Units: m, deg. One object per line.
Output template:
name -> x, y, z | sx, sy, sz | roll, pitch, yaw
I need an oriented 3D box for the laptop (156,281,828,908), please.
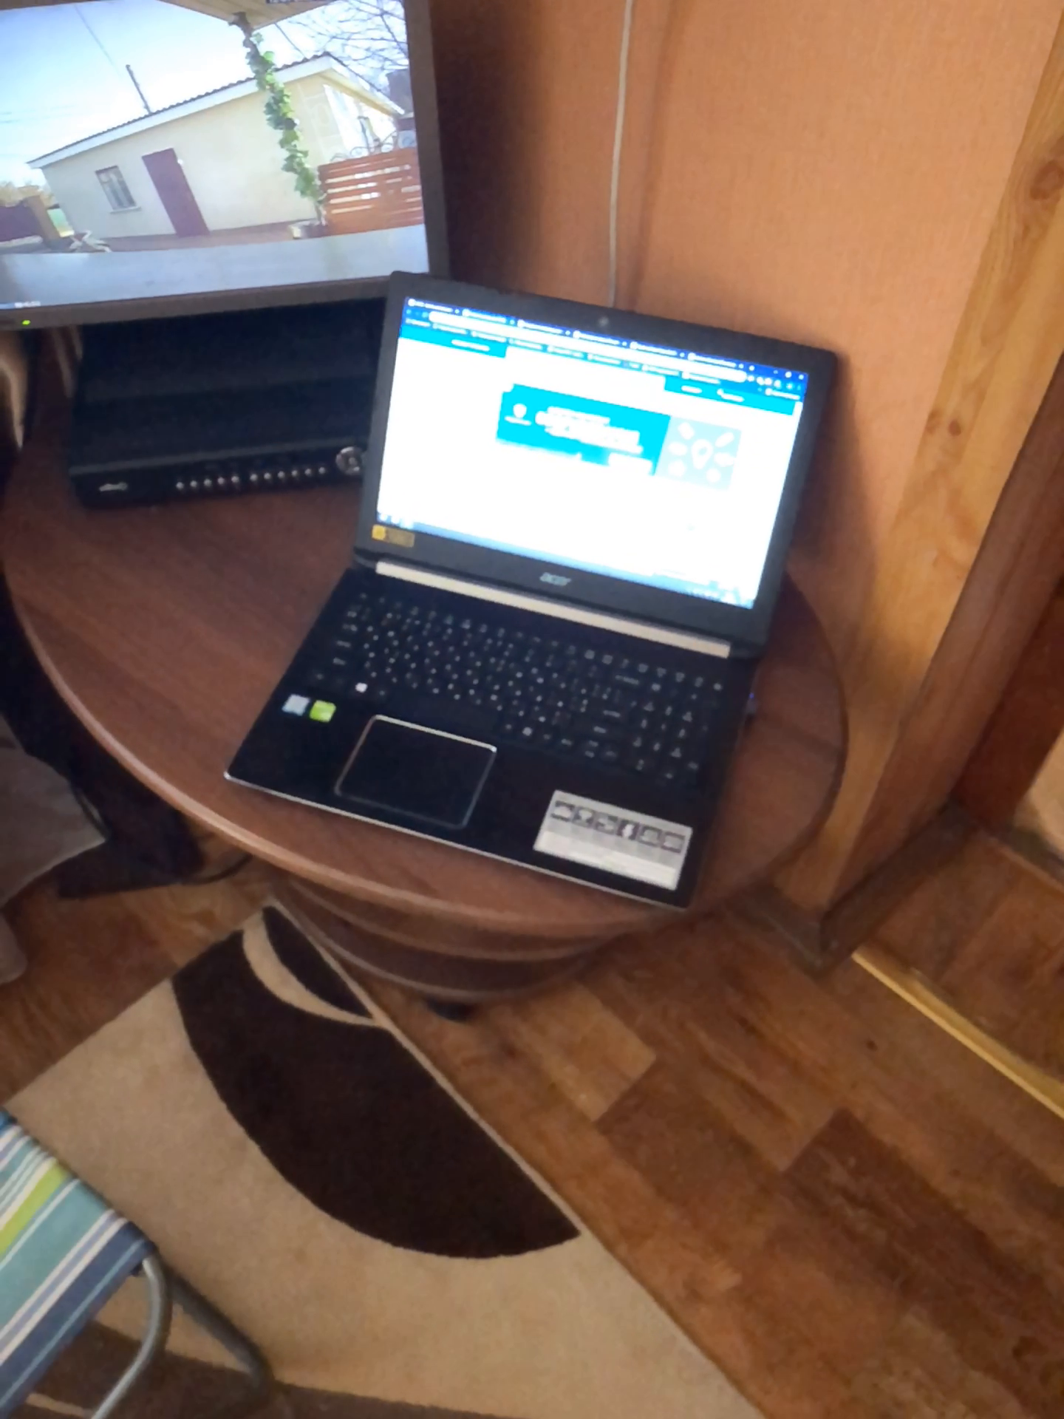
laptop -> -0.005, -0.109, 0.919 | 0.372, 0.186, 0.392 | 14, 54, 11
